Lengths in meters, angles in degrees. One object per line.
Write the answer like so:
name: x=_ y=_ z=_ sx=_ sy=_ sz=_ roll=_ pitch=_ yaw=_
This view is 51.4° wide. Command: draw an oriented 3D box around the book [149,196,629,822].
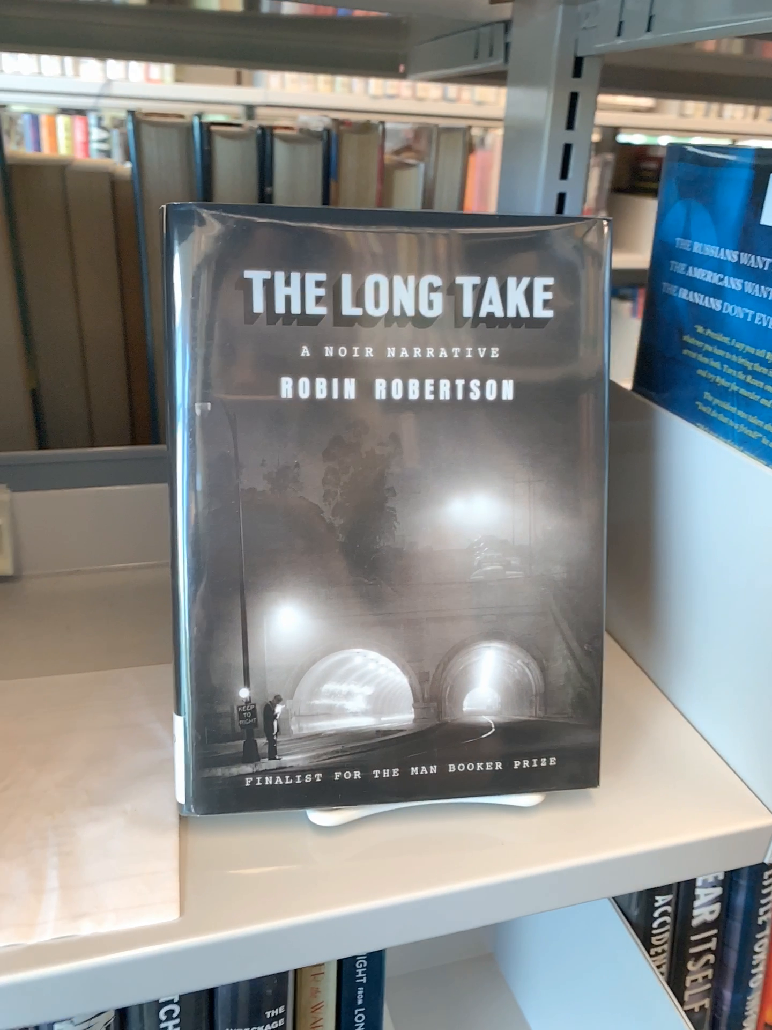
book: x=0.002 y=-0.002 z=0.294 sx=0.160 sy=0.206 sz=0.040 roll=-1 pitch=5 yaw=-8
